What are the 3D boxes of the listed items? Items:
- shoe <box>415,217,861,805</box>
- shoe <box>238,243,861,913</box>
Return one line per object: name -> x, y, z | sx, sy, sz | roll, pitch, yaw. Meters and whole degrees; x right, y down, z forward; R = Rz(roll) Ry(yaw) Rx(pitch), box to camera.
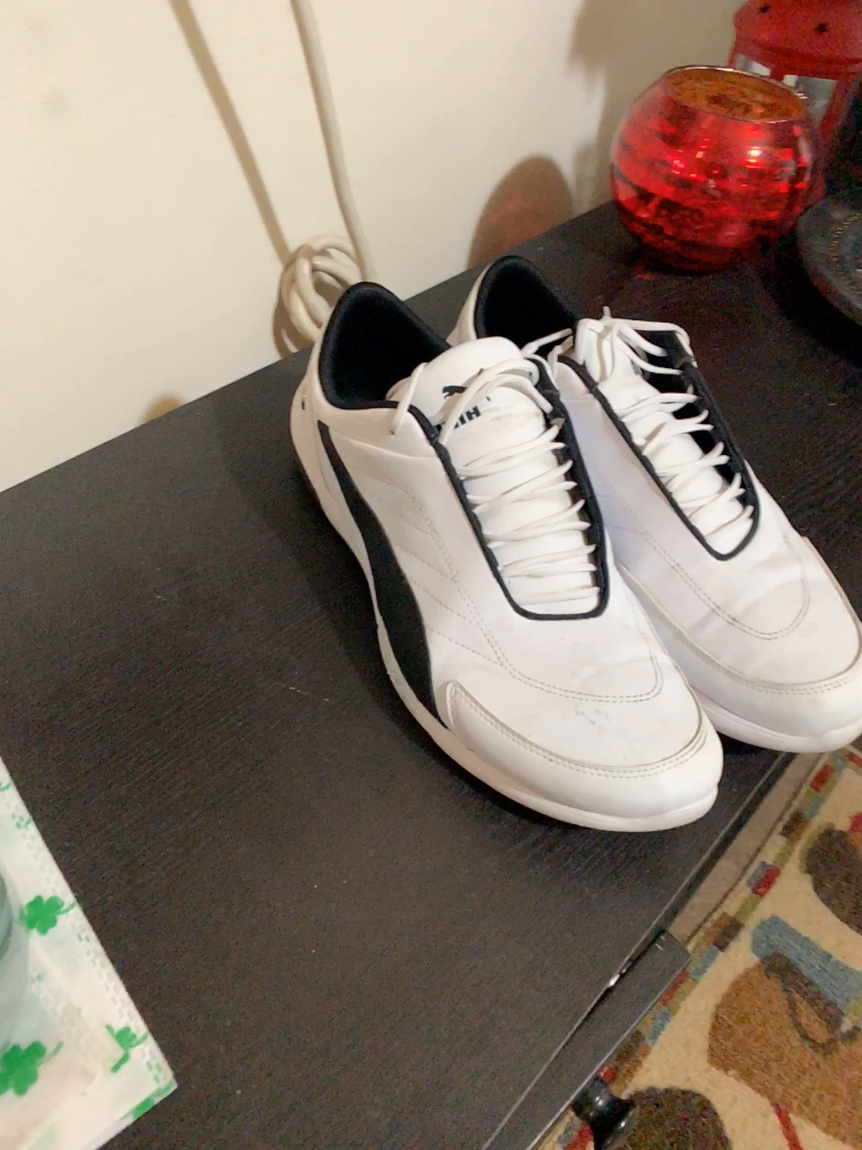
shoe -> 0.108, -0.052, 0.429 | 0.100, 0.089, 0.292 | -19, 55, -22
shoe -> 0.025, -0.023, 0.388 | 0.120, 0.089, 0.282 | -19, 55, -22
